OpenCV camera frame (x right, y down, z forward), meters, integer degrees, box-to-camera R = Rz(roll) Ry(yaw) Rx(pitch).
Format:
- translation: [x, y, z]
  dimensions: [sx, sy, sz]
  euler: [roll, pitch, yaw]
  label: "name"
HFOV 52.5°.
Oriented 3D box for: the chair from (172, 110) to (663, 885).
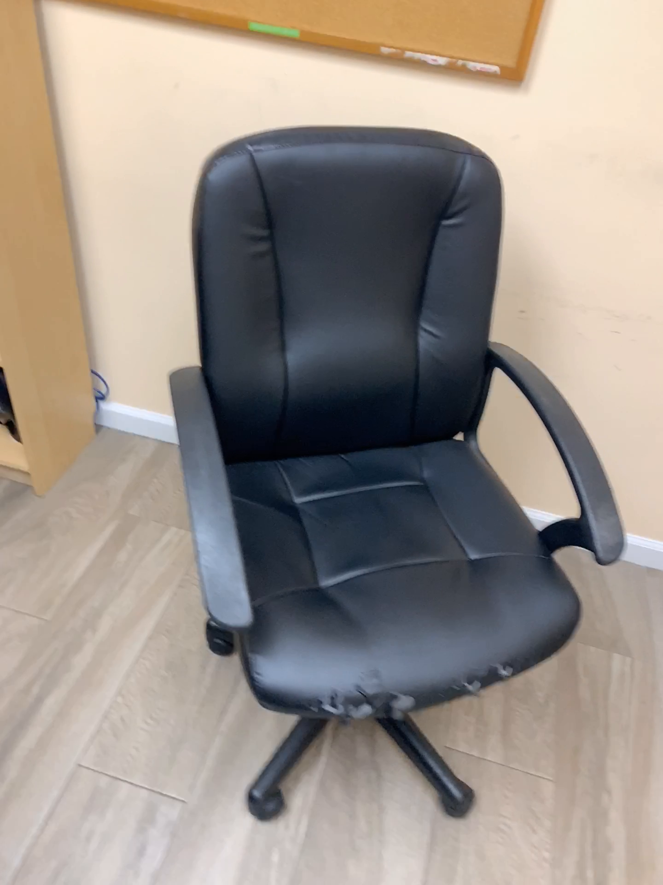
- translation: [0.153, 0.118, 1.056]
  dimensions: [0.683, 0.987, 0.647]
  euler: [-6, 43, -16]
  label: "chair"
